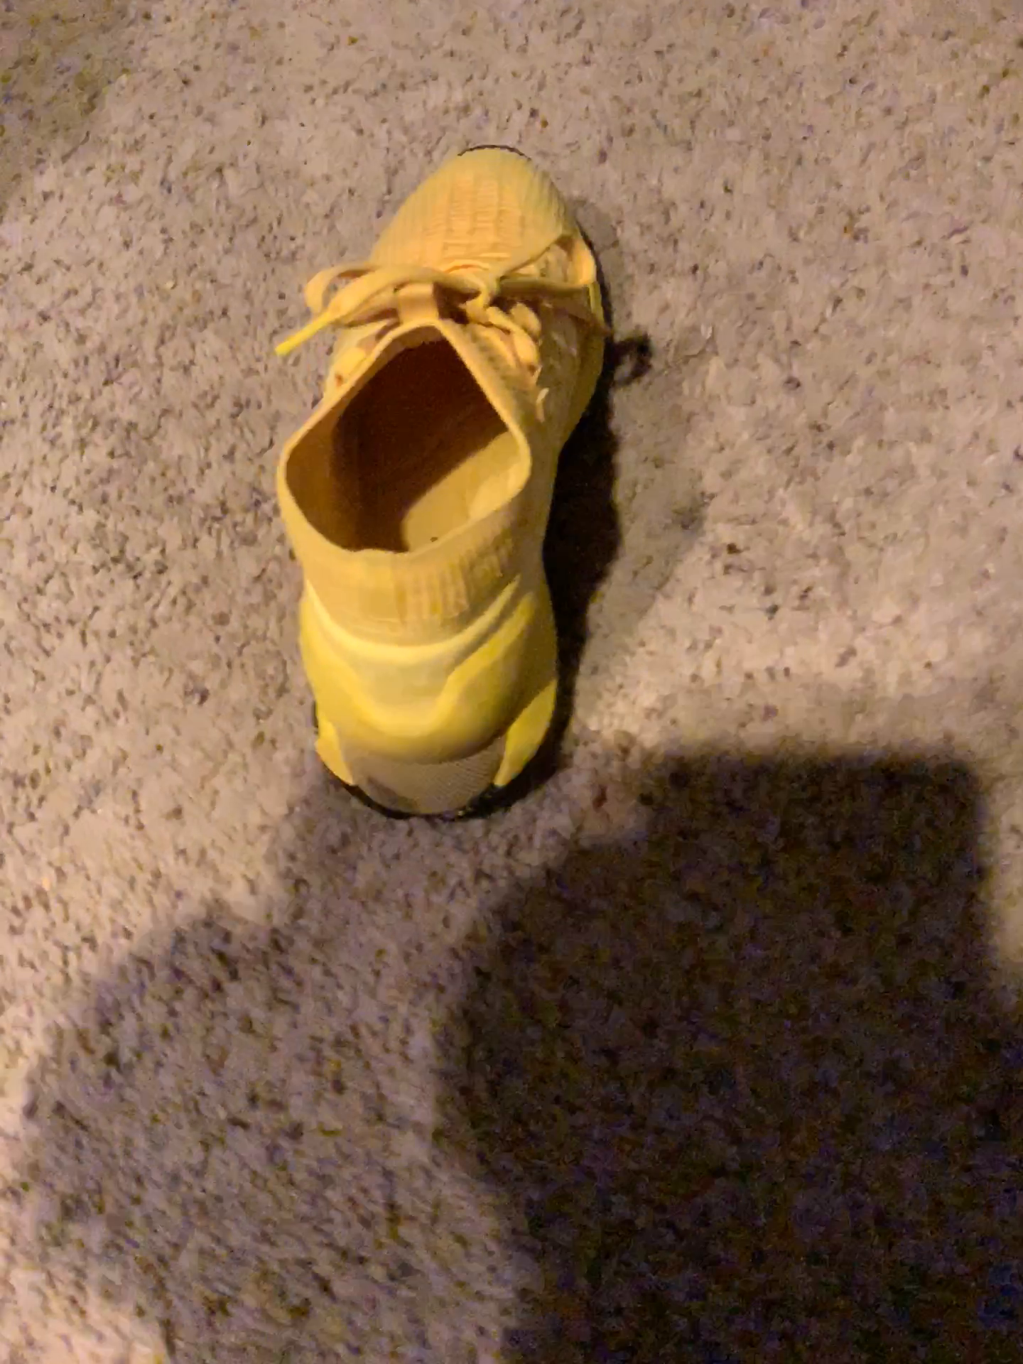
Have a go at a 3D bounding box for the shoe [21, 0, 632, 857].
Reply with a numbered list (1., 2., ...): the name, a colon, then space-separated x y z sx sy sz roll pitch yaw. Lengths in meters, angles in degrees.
1. shoe: -0.034 -0.116 0.402 0.130 0.130 0.320 2 63 9
